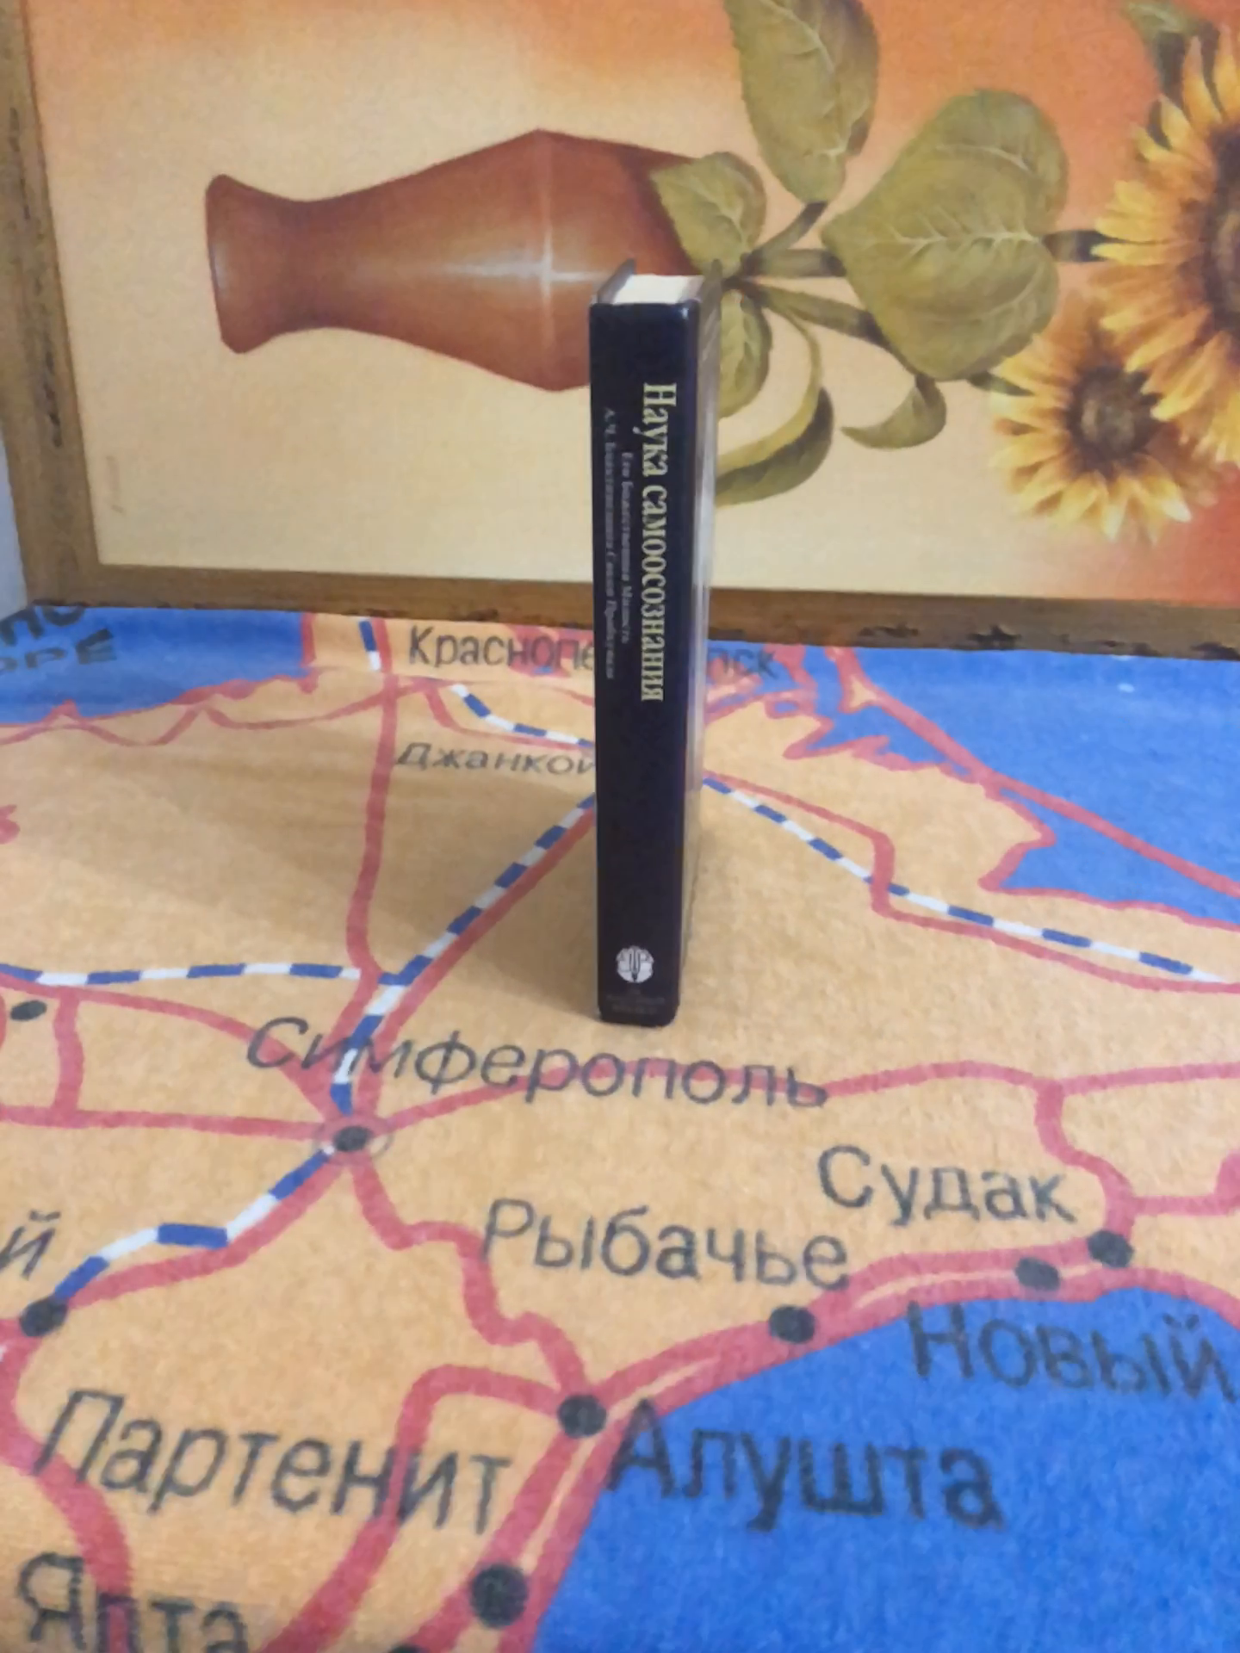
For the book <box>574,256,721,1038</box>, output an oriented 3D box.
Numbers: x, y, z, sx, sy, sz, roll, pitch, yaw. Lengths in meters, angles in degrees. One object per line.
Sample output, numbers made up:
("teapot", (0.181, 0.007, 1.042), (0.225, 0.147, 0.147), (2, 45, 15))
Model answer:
("book", (0.013, -0.061, 0.424), (0.030, 0.205, 0.141), (1, 26, 5))
